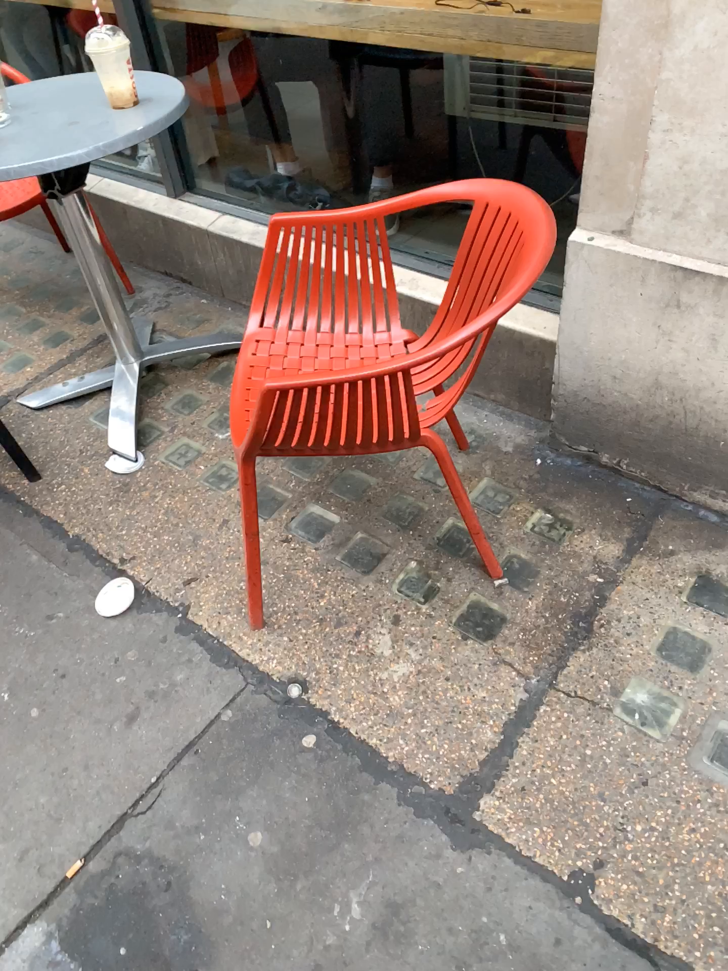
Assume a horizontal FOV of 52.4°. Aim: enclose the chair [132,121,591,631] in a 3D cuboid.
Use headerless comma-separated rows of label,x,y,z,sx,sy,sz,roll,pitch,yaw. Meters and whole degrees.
chair,0.004,-0.199,1.426,0.610,0.693,0.586,-7,44,0
